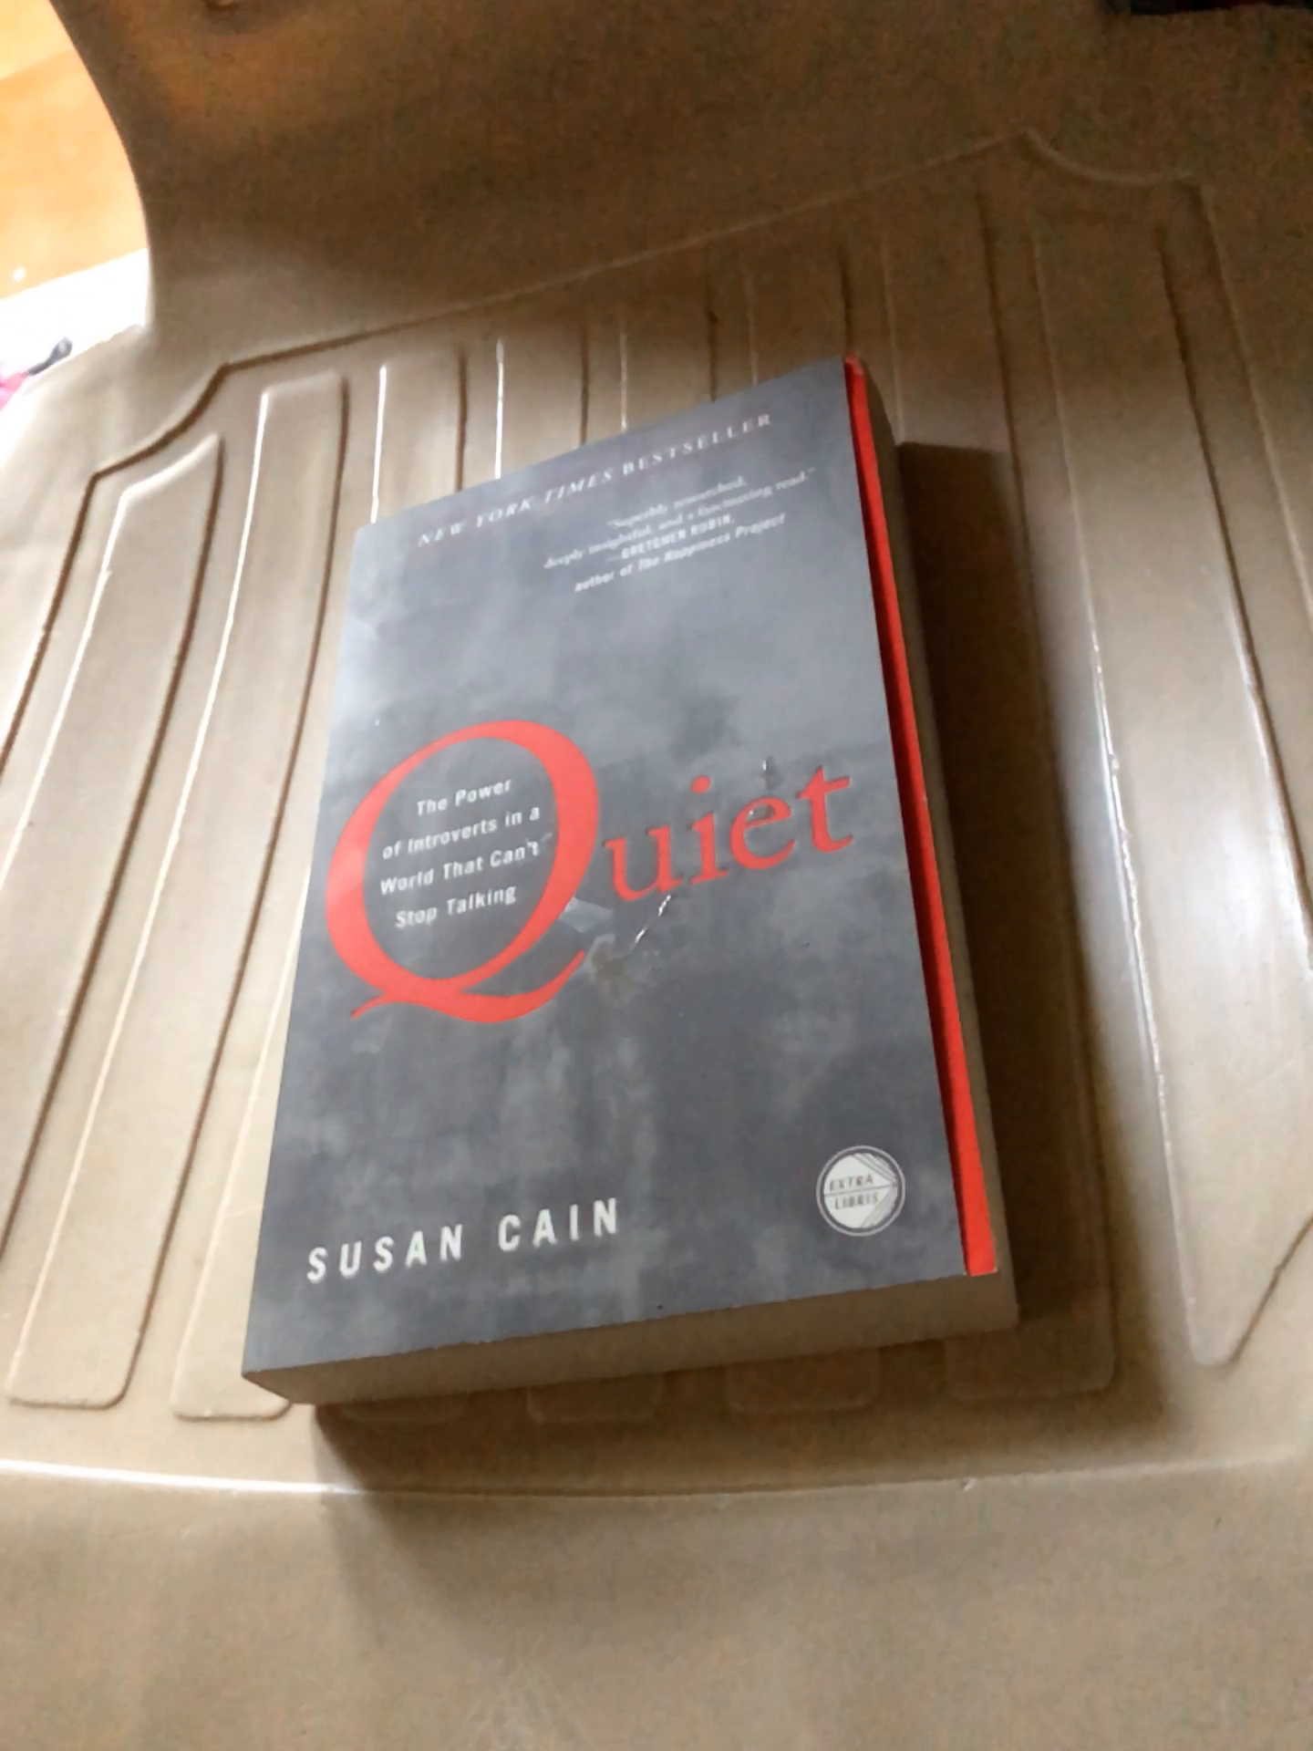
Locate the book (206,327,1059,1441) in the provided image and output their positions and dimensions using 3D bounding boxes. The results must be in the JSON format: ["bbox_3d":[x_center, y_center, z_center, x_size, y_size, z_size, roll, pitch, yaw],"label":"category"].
[{"bbox_3d":[-0.009,-0.006,0.279,0.130,0.030,0.200,-13,57,17],"label":"book"}]
